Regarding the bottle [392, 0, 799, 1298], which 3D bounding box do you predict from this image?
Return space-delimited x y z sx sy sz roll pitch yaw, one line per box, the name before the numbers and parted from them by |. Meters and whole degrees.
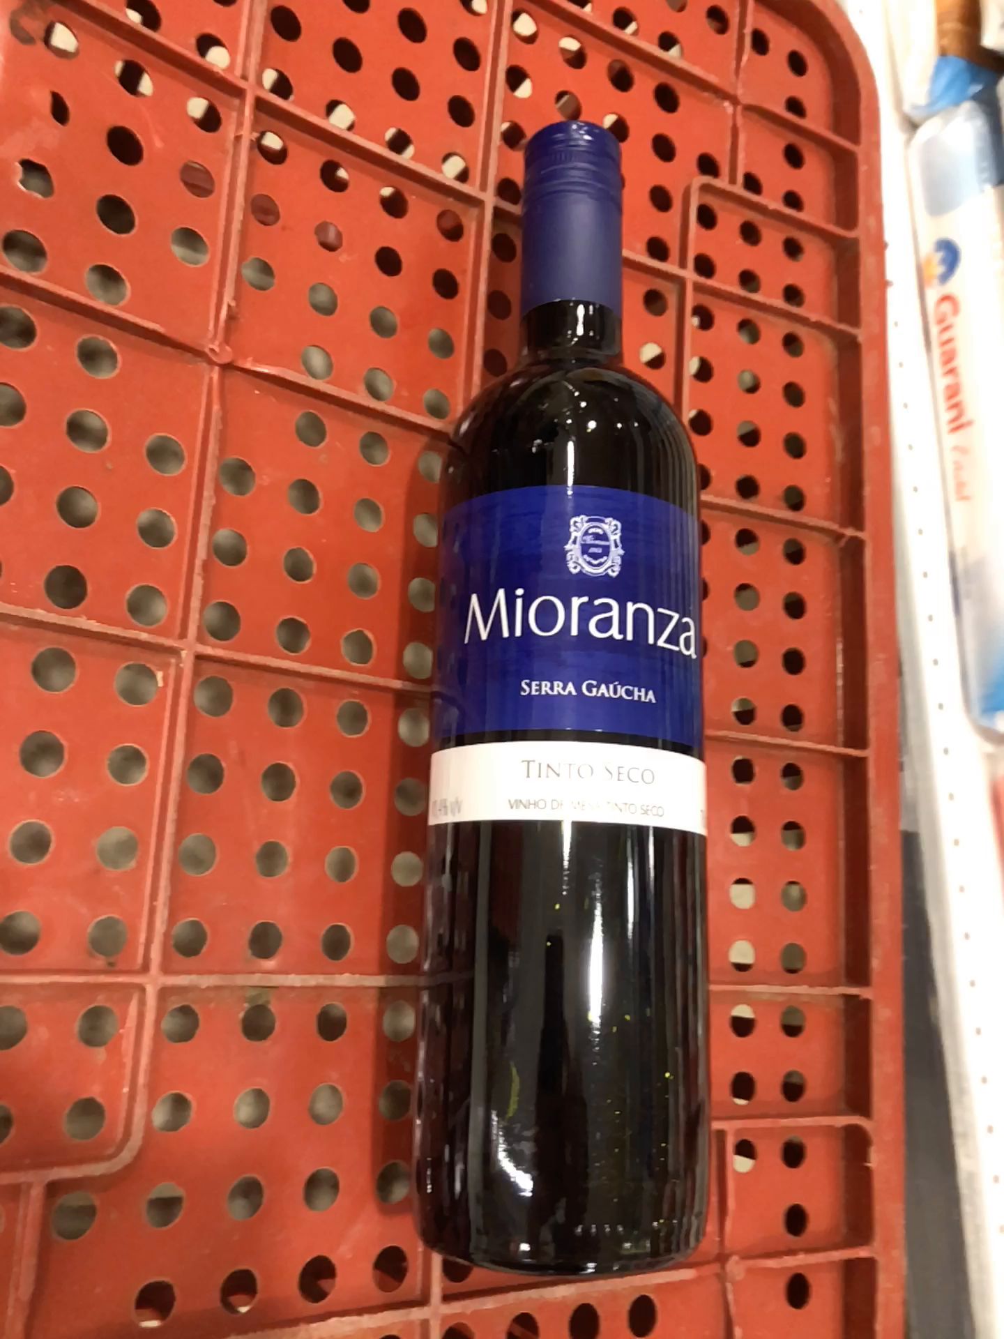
bottle | 0.022 -0.014 0.287 0.080 0.060 0.300 4 77 -10
